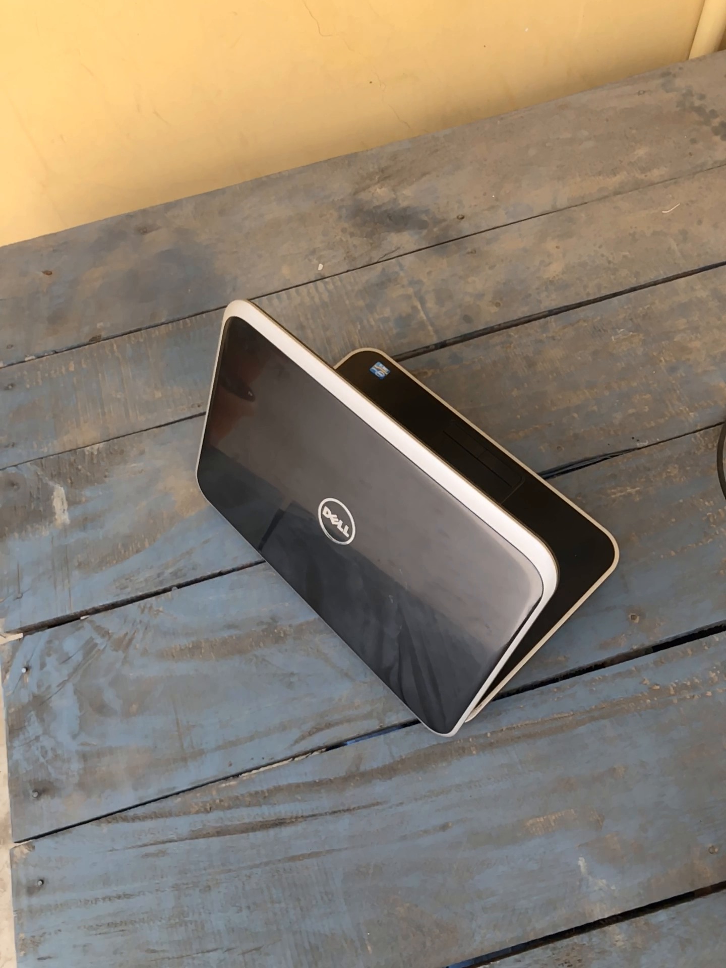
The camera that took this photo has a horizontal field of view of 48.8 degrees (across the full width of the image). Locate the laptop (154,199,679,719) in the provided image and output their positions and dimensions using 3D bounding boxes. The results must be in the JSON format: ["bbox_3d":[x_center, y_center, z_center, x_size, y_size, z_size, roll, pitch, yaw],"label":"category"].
[{"bbox_3d":[0.035,-0.022,0.698,0.216,0.206,0.348,-41,65,-12],"label":"laptop"}]
